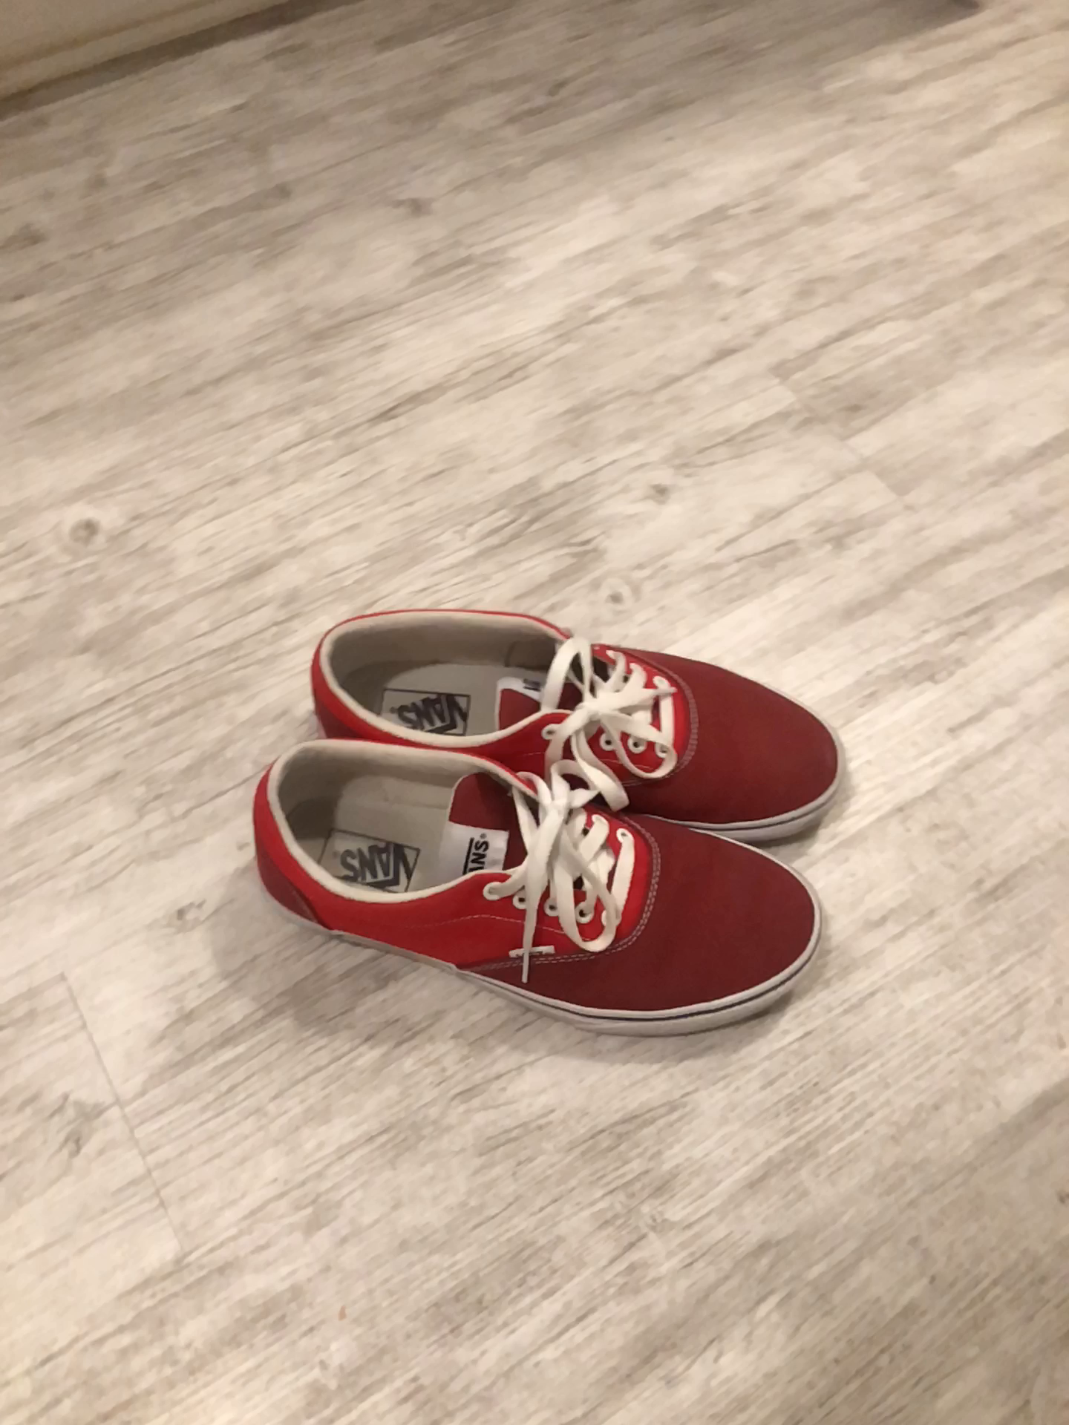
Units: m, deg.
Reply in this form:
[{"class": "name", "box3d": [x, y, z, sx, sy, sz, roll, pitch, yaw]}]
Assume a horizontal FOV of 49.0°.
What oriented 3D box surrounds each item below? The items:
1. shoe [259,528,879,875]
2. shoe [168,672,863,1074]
[{"class": "shoe", "box3d": [0.019, -0.005, 0.566, 0.266, 0.088, 0.110, 6, 60, 3]}, {"class": "shoe", "box3d": [-0.003, 0.072, 0.525, 0.272, 0.093, 0.110, 9, 60, 5]}]
